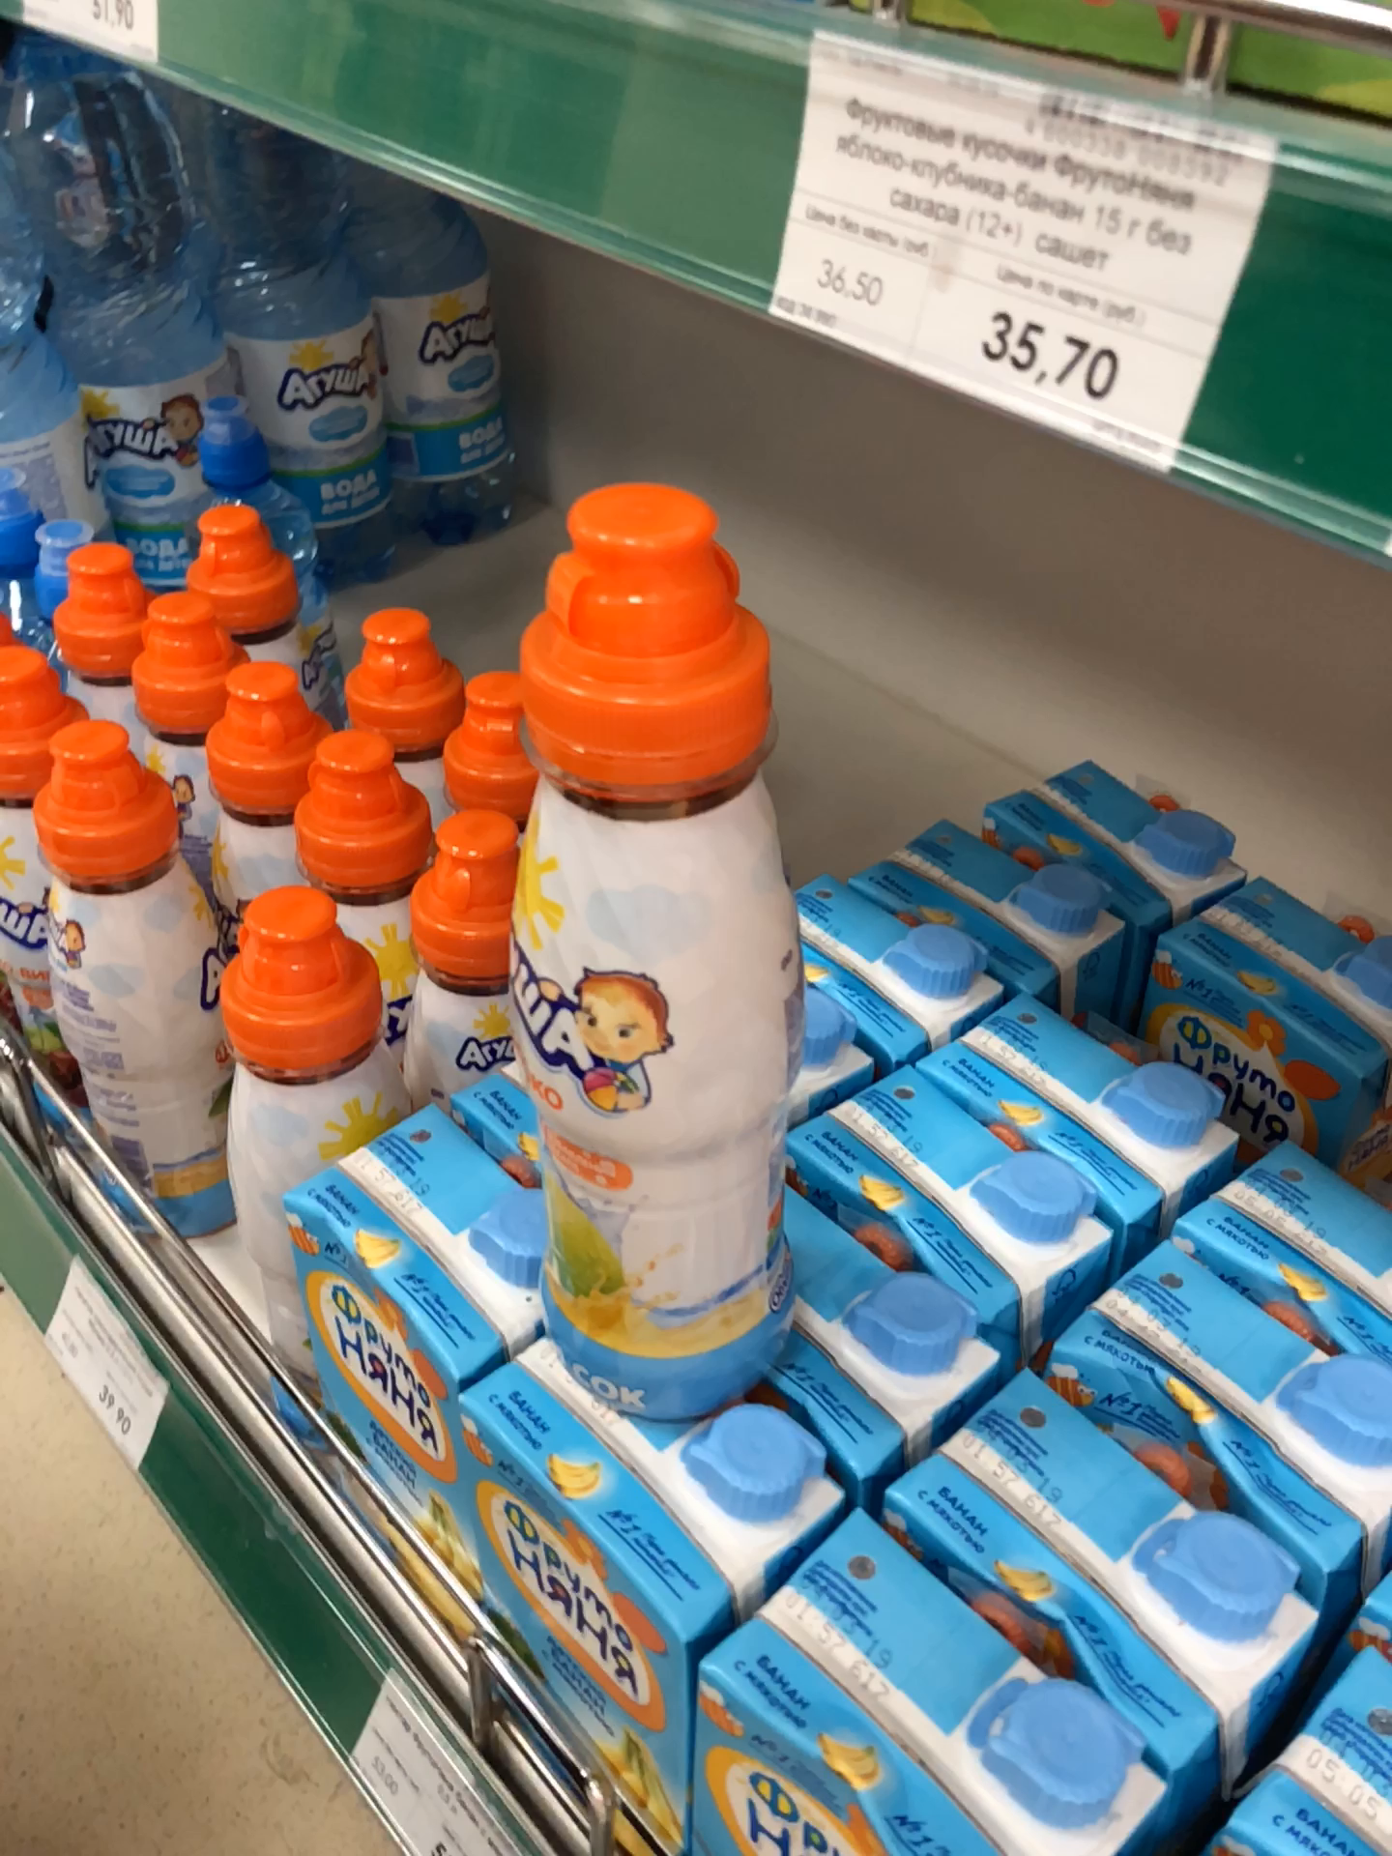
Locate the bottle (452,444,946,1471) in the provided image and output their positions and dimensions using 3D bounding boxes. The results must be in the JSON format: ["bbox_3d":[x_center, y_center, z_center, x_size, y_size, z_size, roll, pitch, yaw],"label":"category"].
[{"bbox_3d":[-0.004,0.016,0.291,0.053,0.193,0.056,2,40,-1],"label":"bottle"}]
